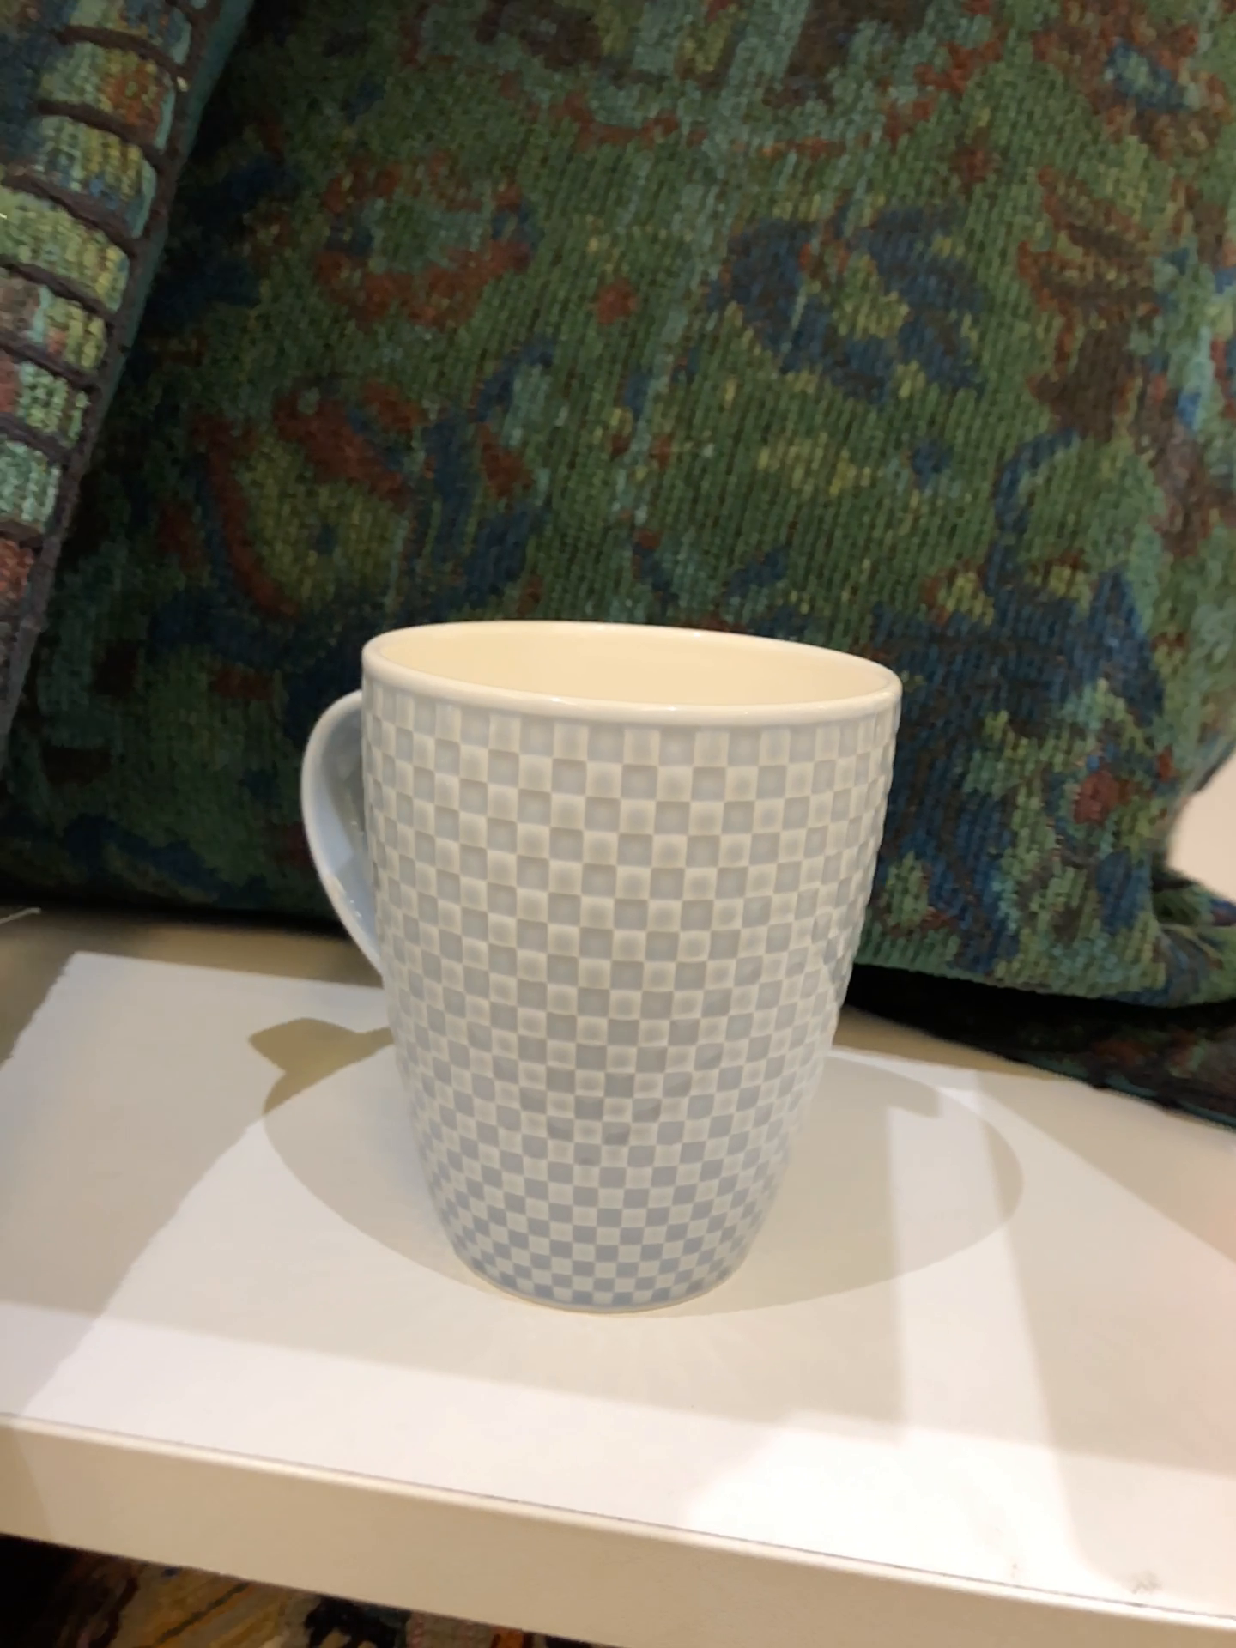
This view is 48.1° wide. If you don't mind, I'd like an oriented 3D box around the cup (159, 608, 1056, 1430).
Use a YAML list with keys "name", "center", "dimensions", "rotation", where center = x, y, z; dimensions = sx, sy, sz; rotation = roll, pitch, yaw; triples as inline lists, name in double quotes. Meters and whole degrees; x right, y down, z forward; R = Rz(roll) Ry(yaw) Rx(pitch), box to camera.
- name: "cup"
  center: [-0.002, 0.014, 0.217]
  dimensions: [0.100, 0.080, 0.090]
  rotation: [14, 19, 36]
